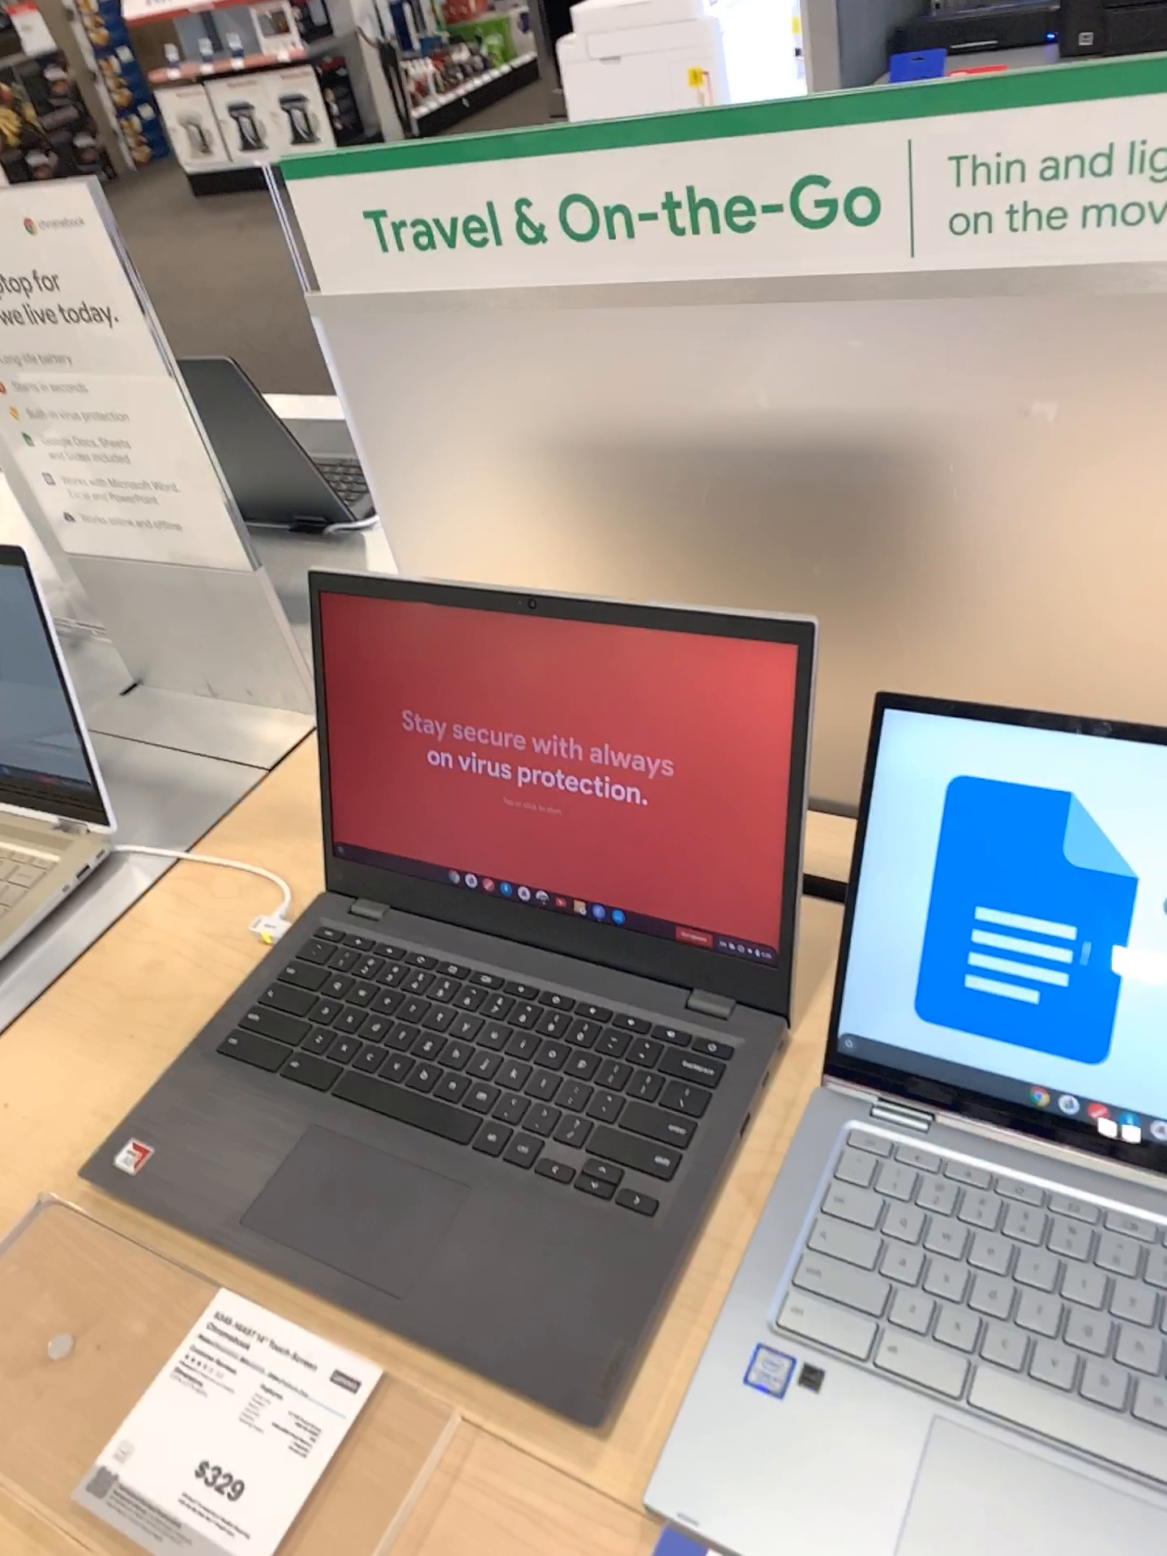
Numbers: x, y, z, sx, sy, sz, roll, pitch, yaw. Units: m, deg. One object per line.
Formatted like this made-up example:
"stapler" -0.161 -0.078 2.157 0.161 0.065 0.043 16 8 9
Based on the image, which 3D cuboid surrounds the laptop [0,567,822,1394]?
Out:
"laptop" -0.082 0.065 0.608 0.310 0.188 0.300 11 45 28
